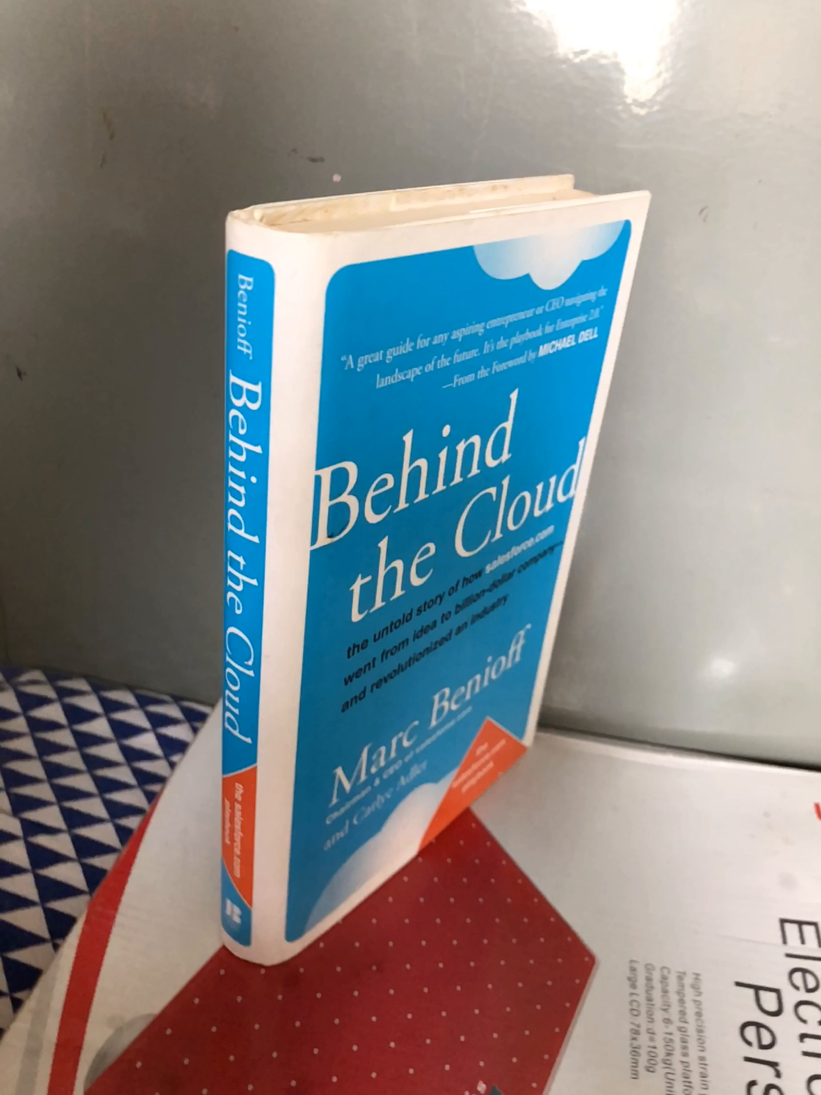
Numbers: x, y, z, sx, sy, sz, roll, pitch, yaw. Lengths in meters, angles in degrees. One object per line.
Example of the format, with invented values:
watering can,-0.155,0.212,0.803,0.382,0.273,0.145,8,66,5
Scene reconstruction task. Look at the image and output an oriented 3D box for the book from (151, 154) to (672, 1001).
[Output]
book,0.006,-0.001,0.313,0.040,0.239,0.191,23,31,31
